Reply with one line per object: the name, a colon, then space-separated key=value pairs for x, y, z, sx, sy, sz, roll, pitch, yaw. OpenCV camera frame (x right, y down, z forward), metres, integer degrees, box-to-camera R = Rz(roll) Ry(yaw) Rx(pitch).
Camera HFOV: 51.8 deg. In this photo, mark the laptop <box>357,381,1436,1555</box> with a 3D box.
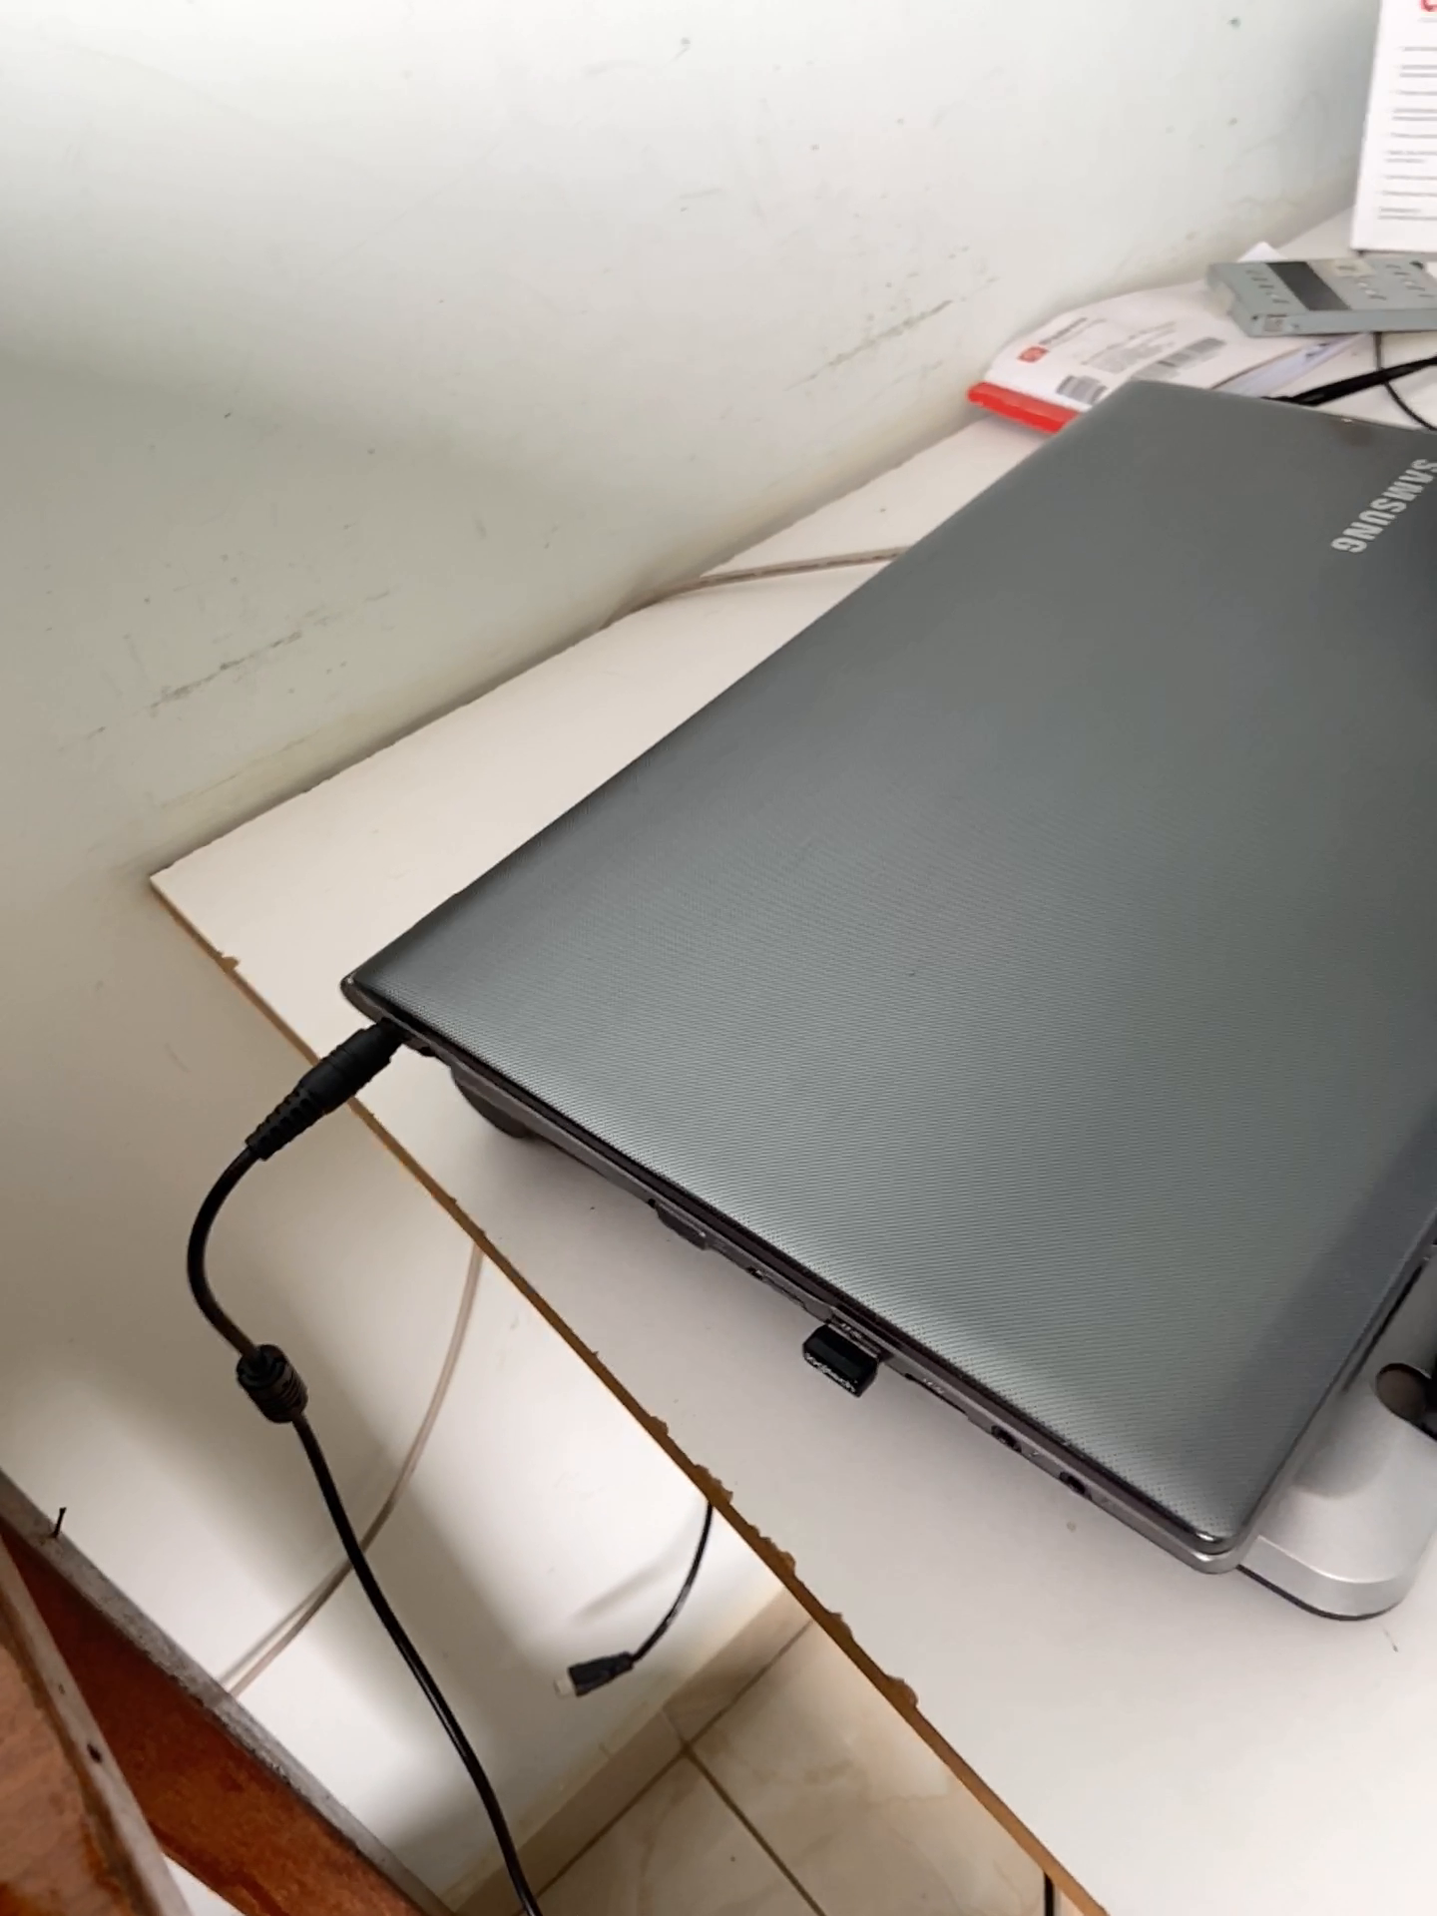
laptop: x=0.119 y=-0.058 z=0.397 sx=0.236 sy=0.005 sz=0.374 roll=27 pitch=55 yaw=34
